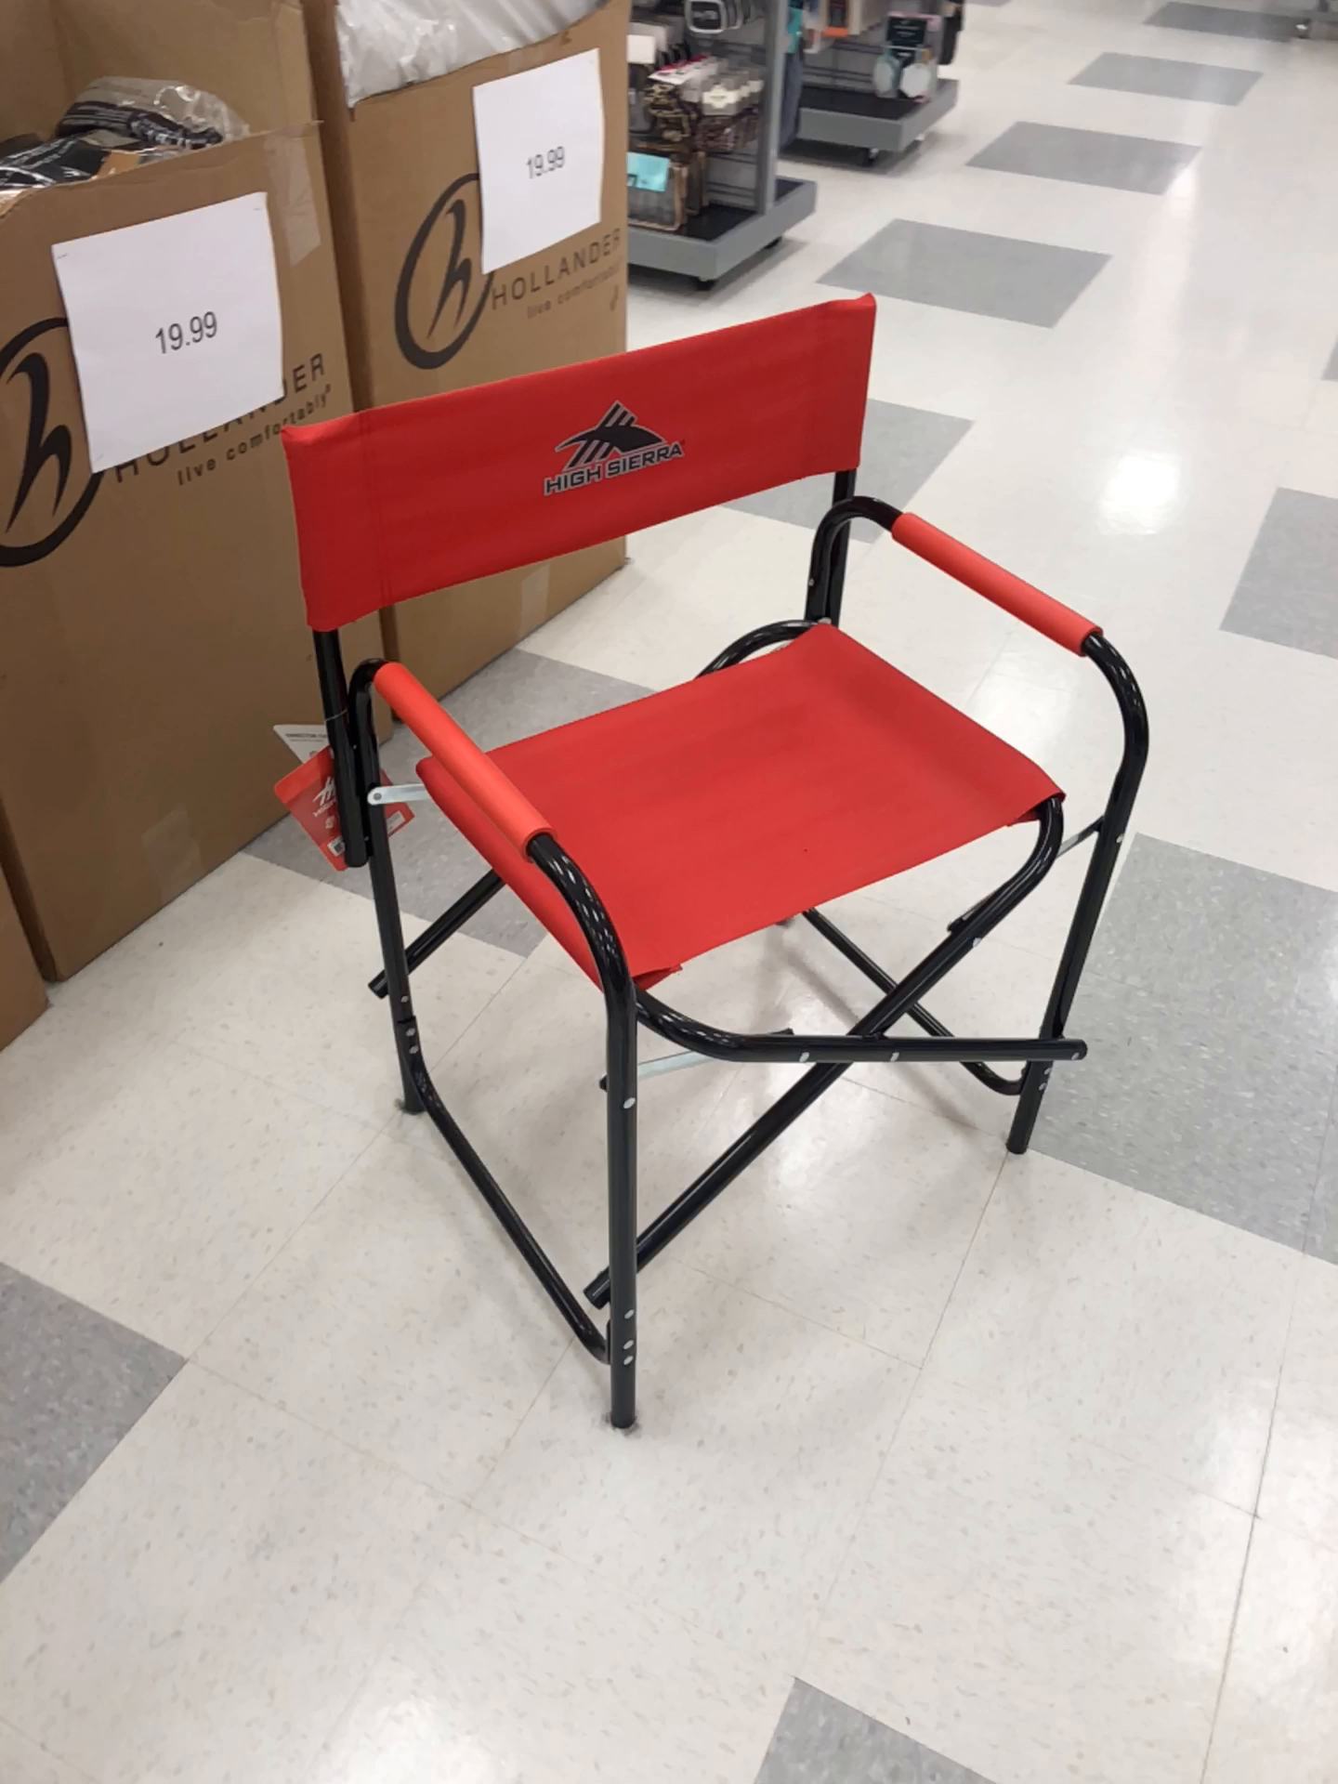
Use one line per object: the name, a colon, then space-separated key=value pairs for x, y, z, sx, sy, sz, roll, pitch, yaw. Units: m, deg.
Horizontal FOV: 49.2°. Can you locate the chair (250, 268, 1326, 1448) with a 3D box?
chair: x=0.070 y=-0.049 z=1.279 sx=0.594 sy=0.729 sz=0.490 roll=-24 pitch=47 yaw=-27
